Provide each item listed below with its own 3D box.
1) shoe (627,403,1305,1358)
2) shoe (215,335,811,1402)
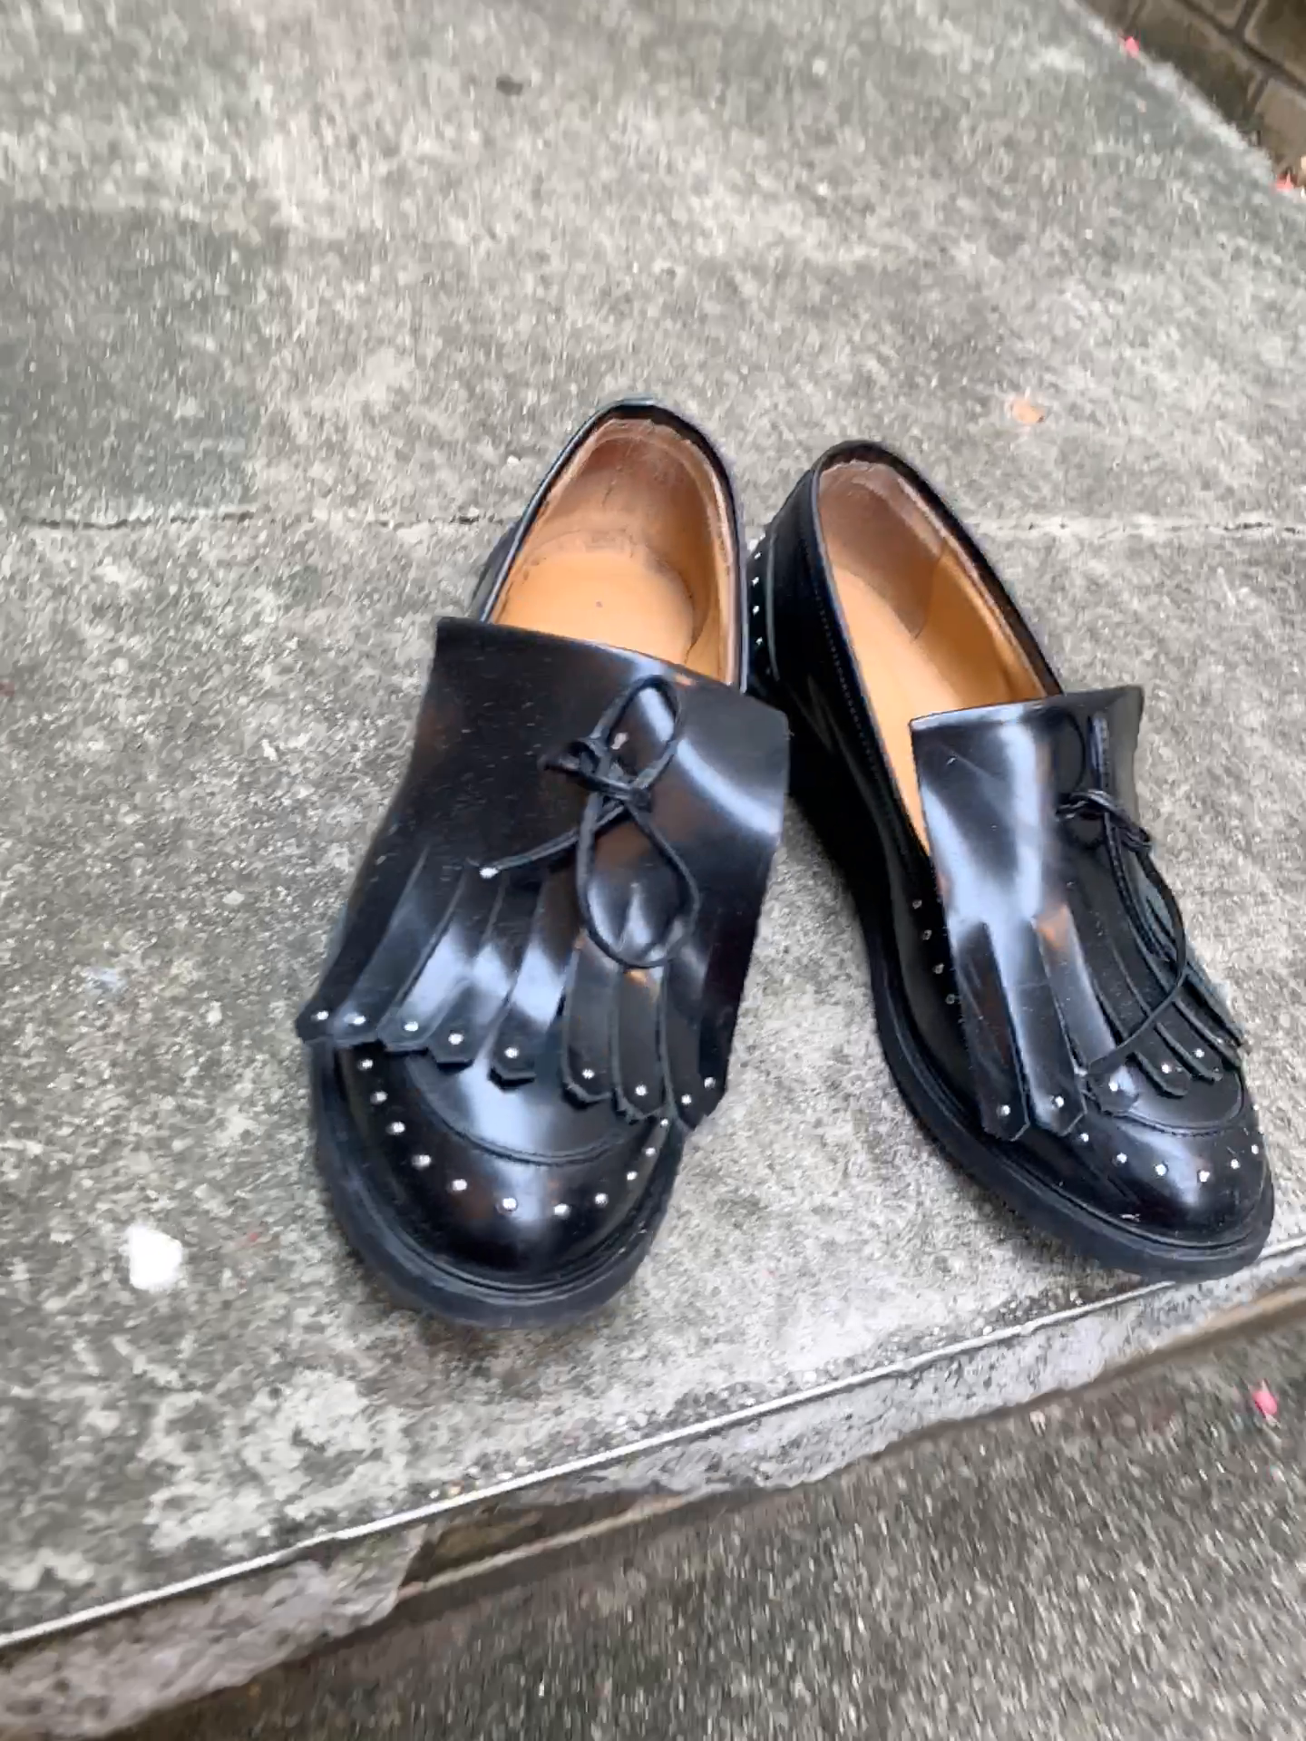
[{"bbox_3d":[0.090,-0.016,0.360,0.094,0.080,0.248,-8,54,-27],"label":"shoe"},{"bbox_3d":[-0.021,-0.019,0.318,0.094,0.080,0.247,12,48,-8],"label":"shoe"}]
